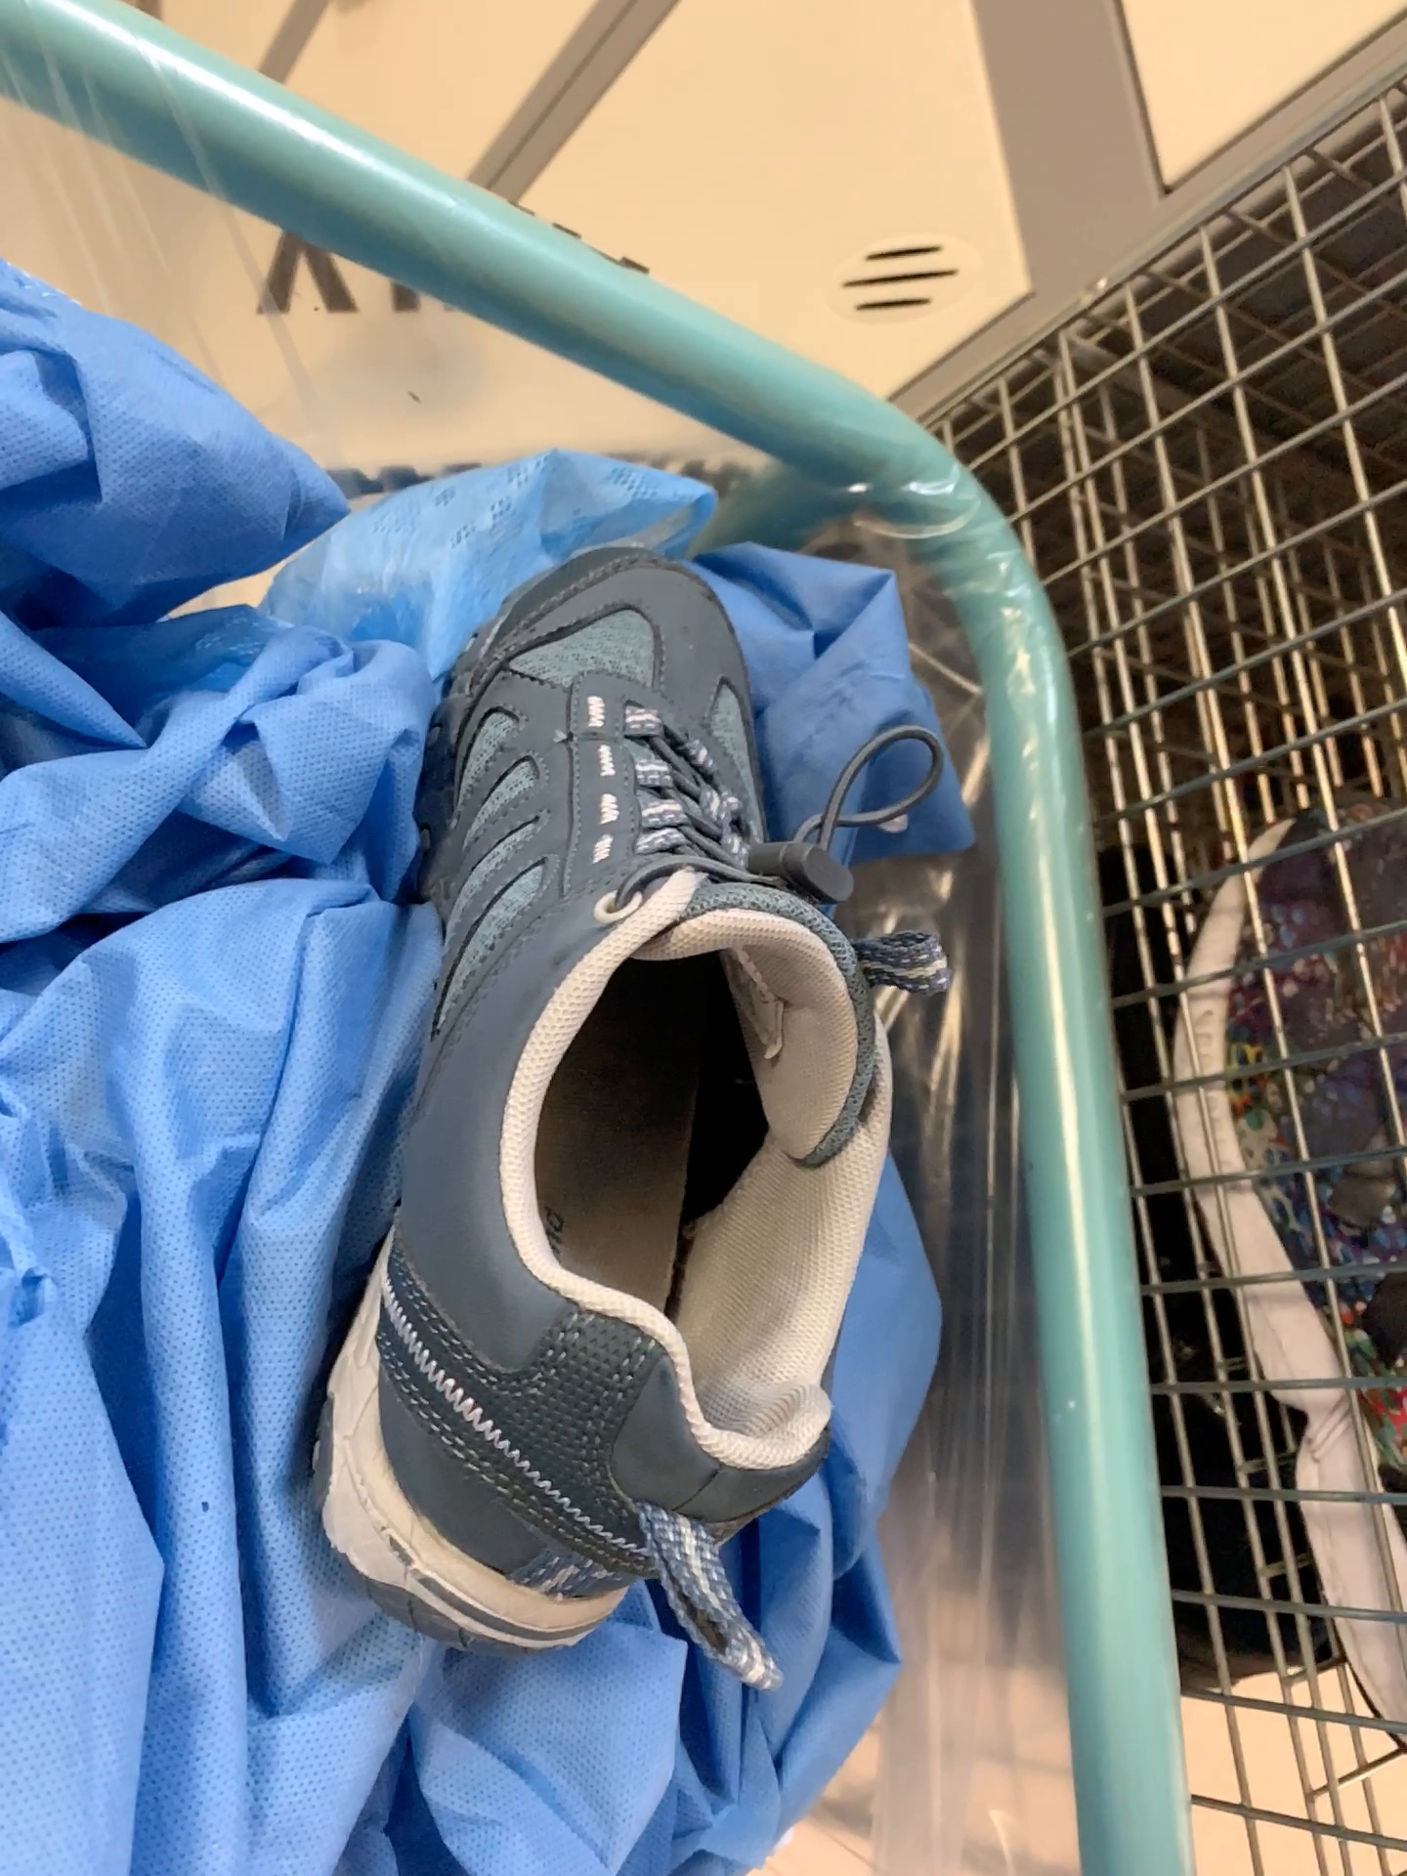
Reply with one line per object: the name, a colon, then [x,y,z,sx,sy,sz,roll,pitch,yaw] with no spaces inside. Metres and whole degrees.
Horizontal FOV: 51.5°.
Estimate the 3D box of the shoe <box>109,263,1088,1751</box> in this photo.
shoe: [-0.008,0.010,0.291,0.101,0.109,0.241,28,59,-29]
